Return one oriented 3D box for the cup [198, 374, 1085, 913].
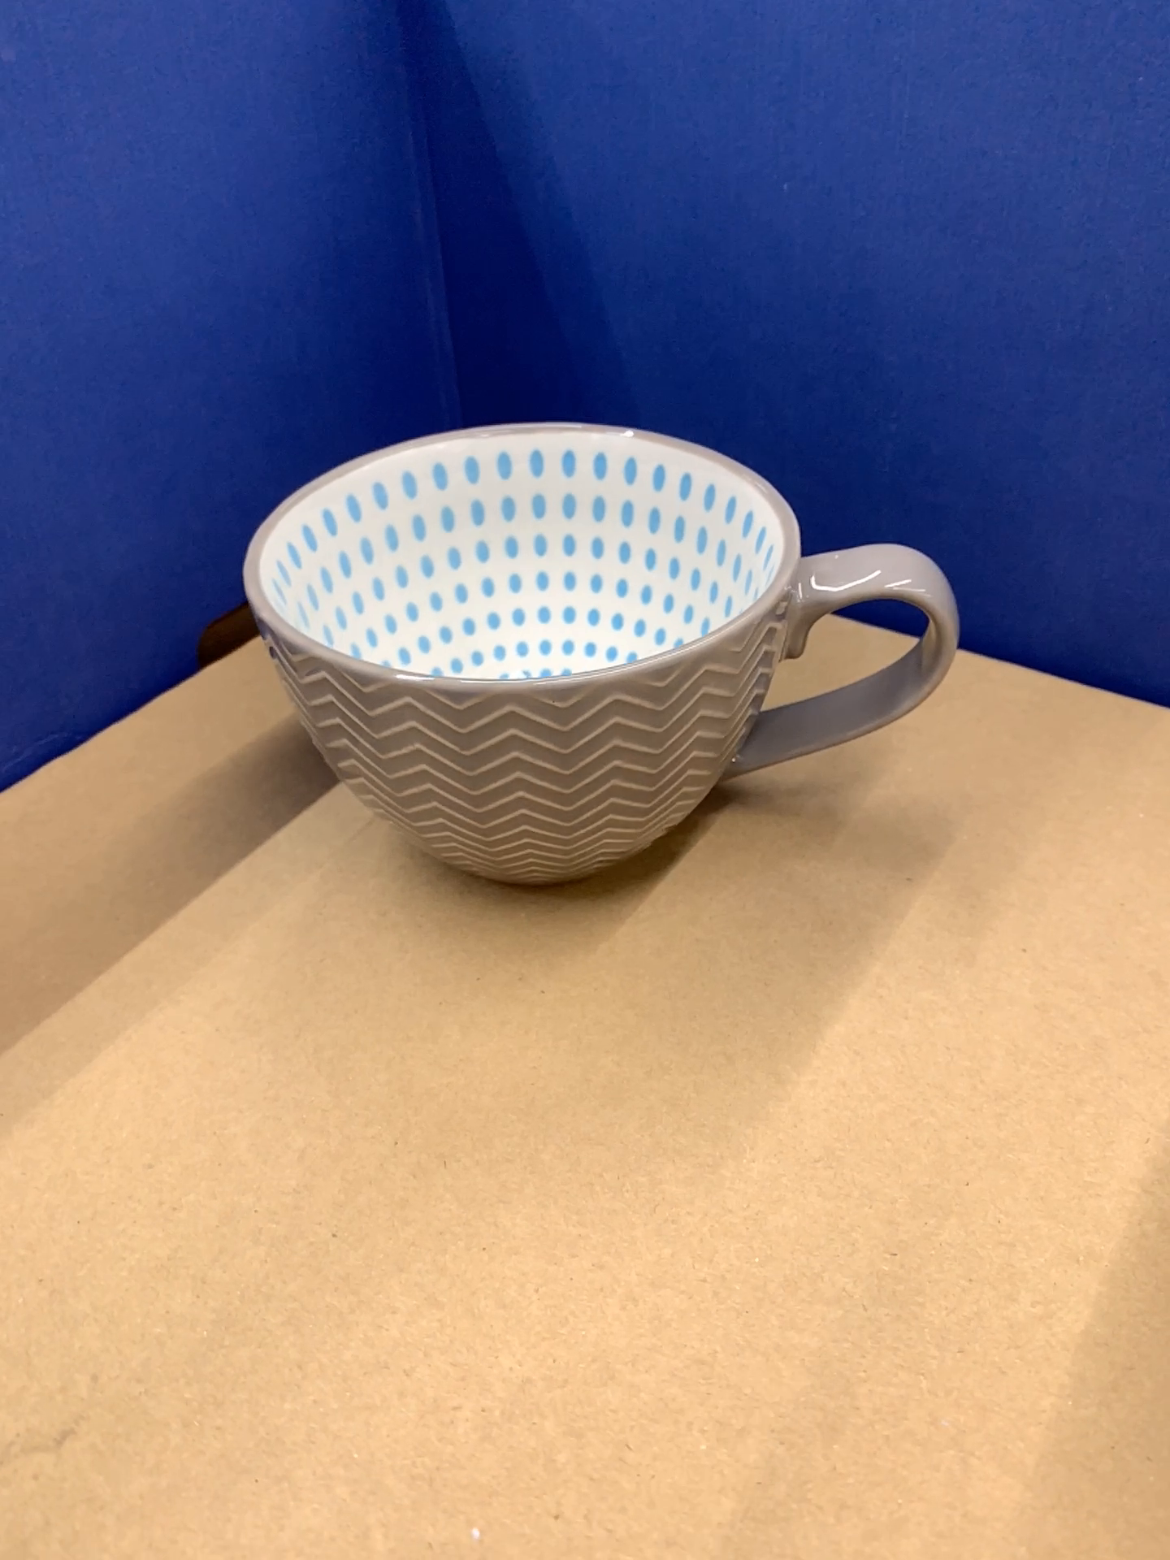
[{"bbox_3d":[0.008,-0.036,0.266,0.150,0.058,0.109,-5,36,-2],"label":"cup"}]
